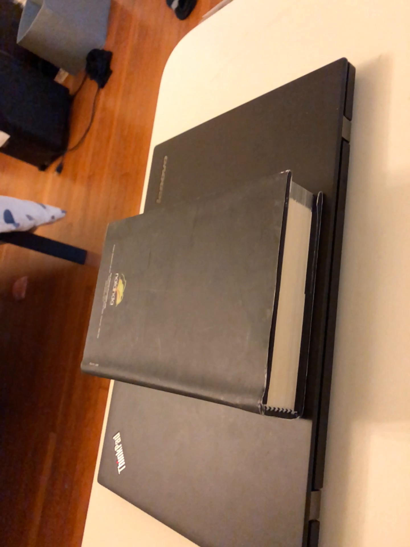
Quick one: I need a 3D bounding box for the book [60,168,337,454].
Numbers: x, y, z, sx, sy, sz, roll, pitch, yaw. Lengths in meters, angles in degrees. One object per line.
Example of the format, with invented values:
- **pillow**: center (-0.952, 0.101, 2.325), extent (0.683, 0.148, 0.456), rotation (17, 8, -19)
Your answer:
- **book**: center (-0.023, 0.025, 0.334), extent (0.231, 0.040, 0.150), rotation (-4, 73, 48)
